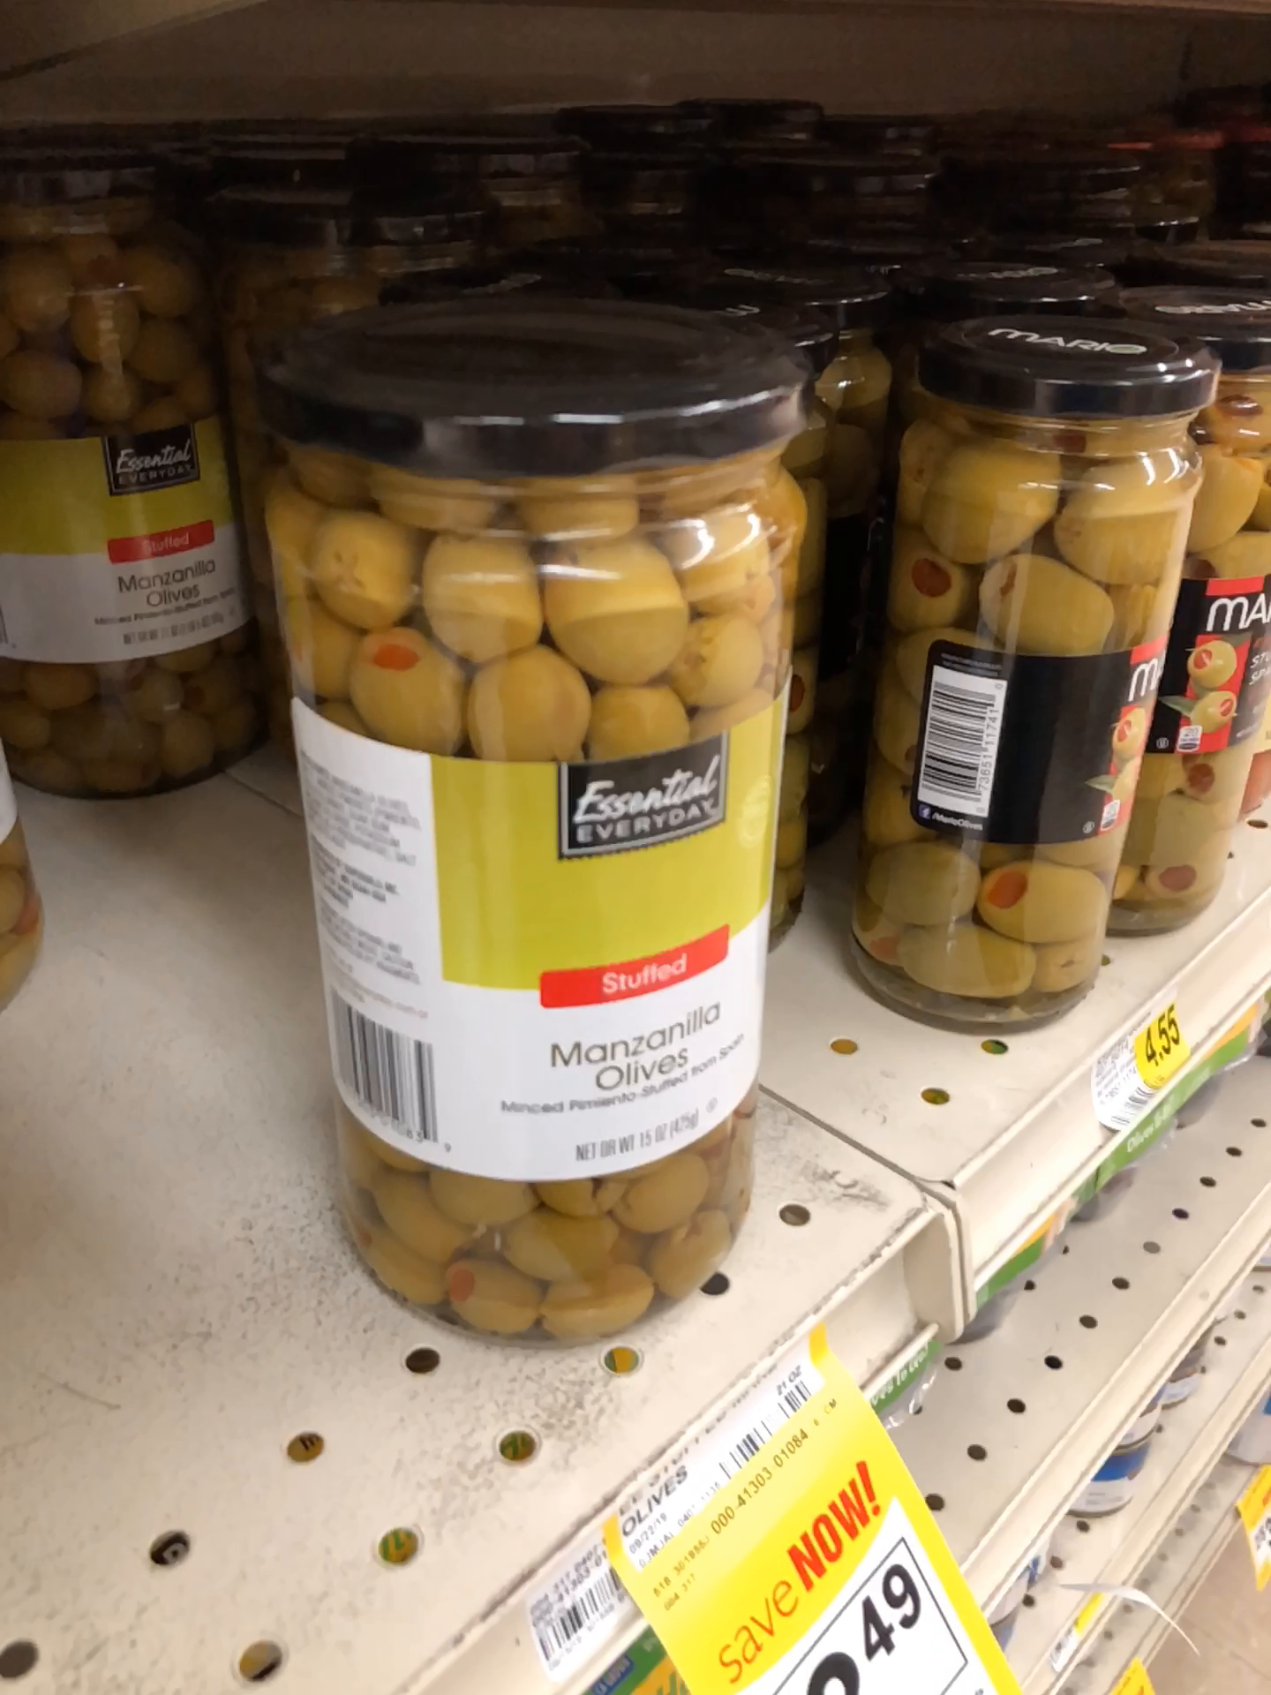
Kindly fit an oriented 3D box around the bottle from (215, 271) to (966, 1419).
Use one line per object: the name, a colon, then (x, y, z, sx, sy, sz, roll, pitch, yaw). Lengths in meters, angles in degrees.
bottle: (-0.012, -0.001, 0.233, 0.080, 0.163, 0.070, -13, 33, -24)
